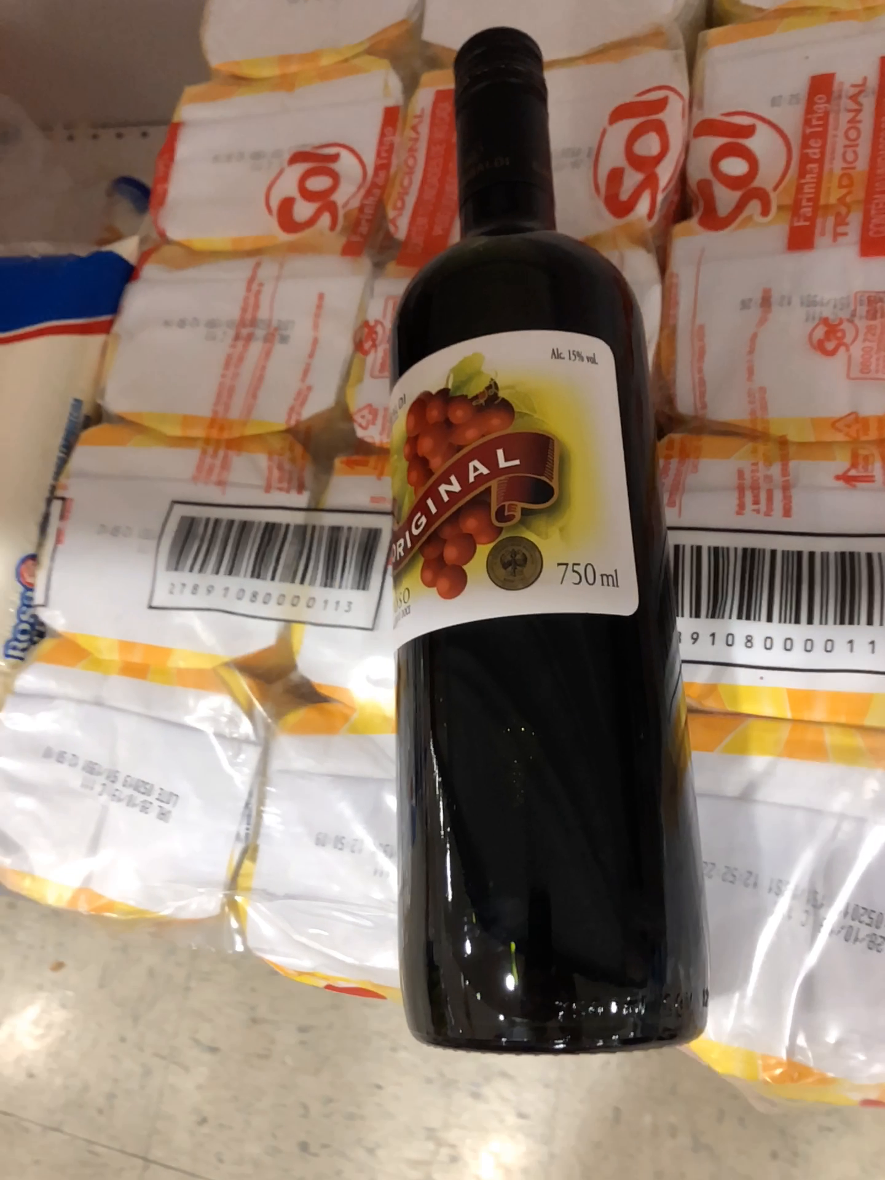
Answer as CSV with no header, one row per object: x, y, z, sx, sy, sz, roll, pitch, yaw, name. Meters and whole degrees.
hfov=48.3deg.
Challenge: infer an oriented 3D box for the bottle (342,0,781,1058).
0.026,-0.044,0.292,0.080,0.070,0.321,-17,65,39,bottle
